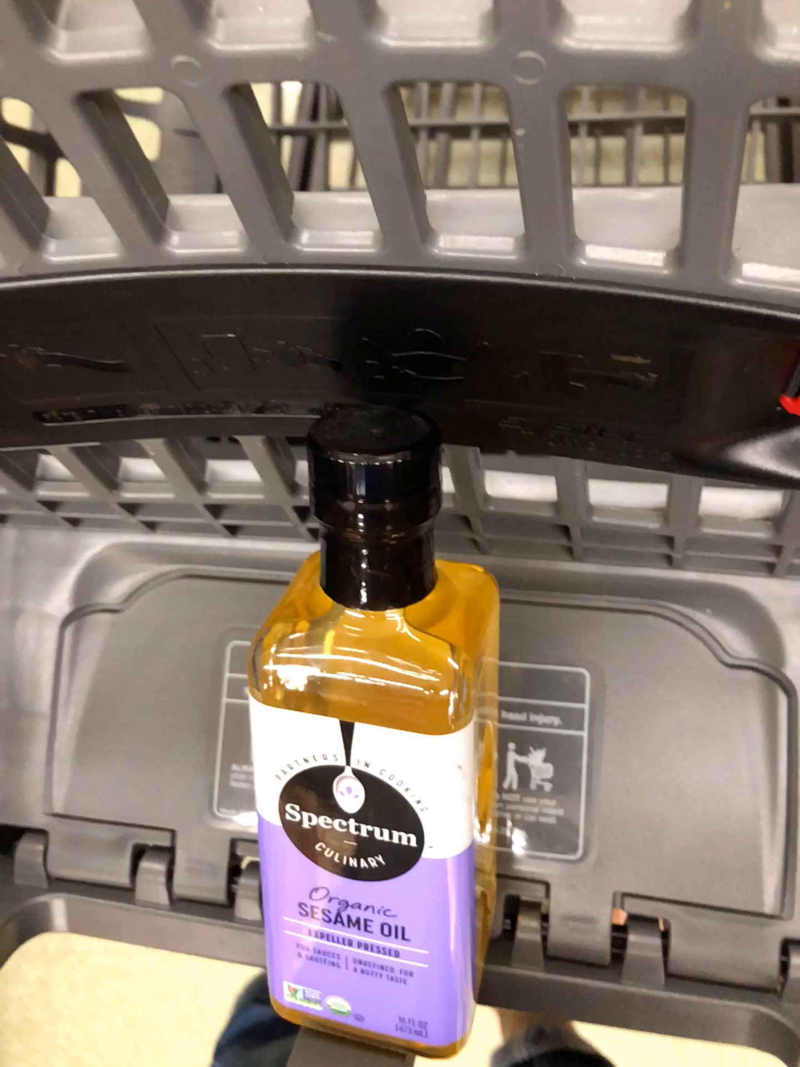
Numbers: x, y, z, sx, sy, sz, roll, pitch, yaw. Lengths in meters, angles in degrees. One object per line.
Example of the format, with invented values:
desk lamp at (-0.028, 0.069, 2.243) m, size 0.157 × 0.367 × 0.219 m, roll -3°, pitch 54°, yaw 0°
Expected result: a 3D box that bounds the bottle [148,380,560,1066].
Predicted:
bottle at (-0.005, 0.065, 0.259) m, size 0.080 × 0.065 × 0.201 m, roll 6°, pitch 123°, yaw 11°
